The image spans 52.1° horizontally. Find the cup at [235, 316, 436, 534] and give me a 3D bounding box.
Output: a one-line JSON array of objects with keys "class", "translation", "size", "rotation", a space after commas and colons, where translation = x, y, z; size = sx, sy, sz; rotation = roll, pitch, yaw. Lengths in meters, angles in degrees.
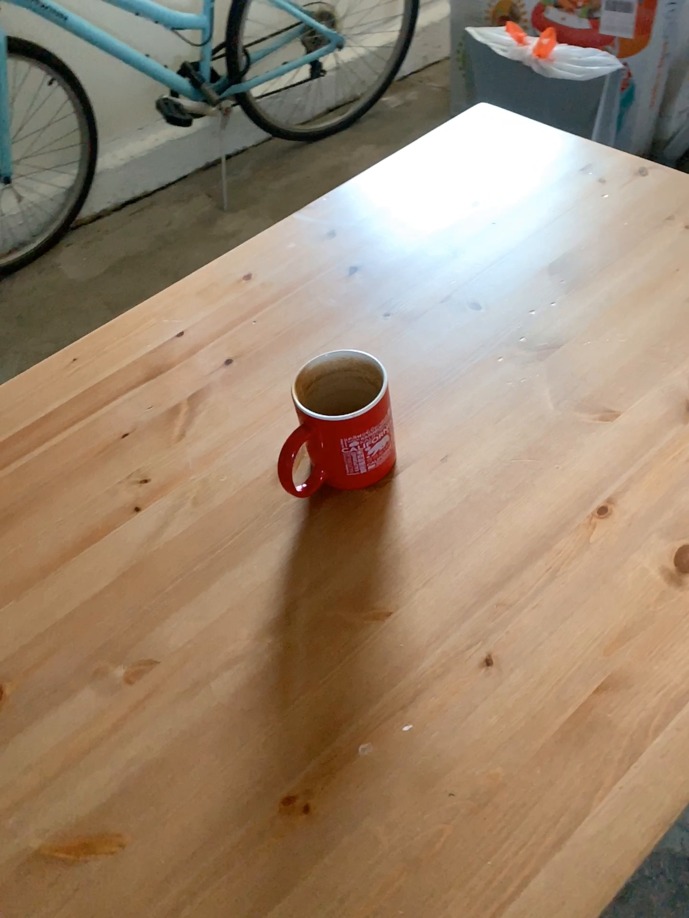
[{"class": "cup", "translation": [-0.003, -0.030, 0.596], "size": [0.130, 0.100, 0.090], "rotation": [-39, 56, -19]}]
